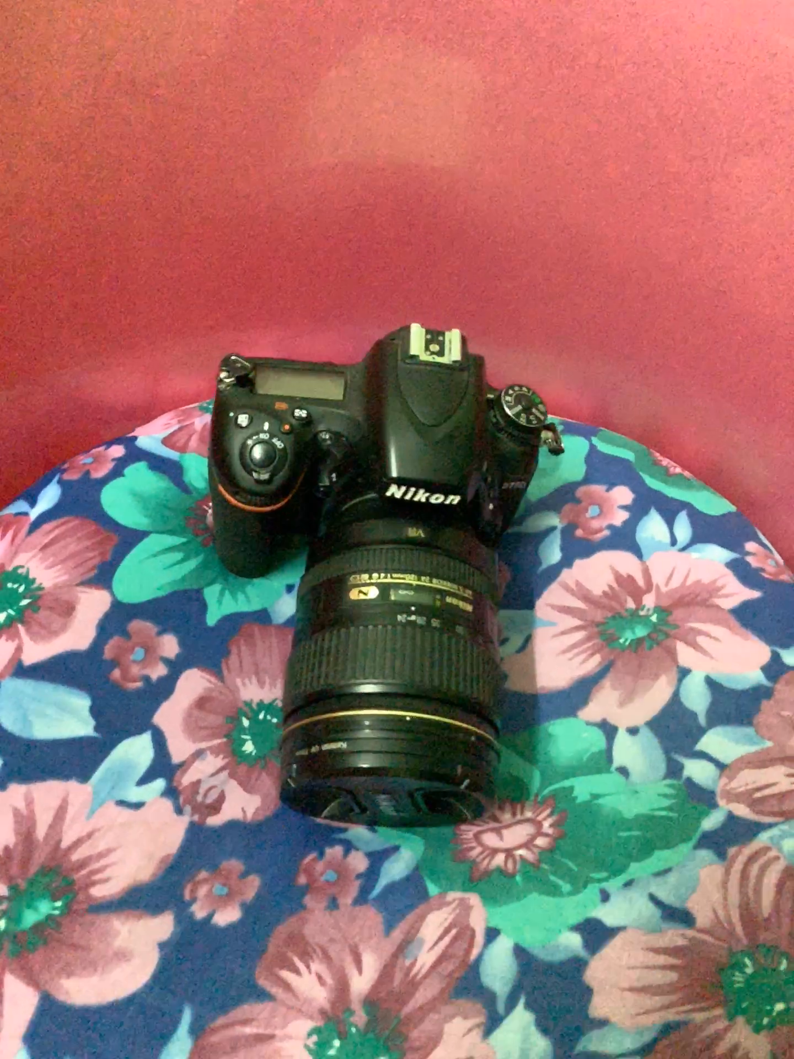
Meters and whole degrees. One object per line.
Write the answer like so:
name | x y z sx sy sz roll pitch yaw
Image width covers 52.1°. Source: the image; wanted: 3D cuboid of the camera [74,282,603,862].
camera | -0.016 0.015 0.312 0.140 0.111 0.180 5 55 -3
